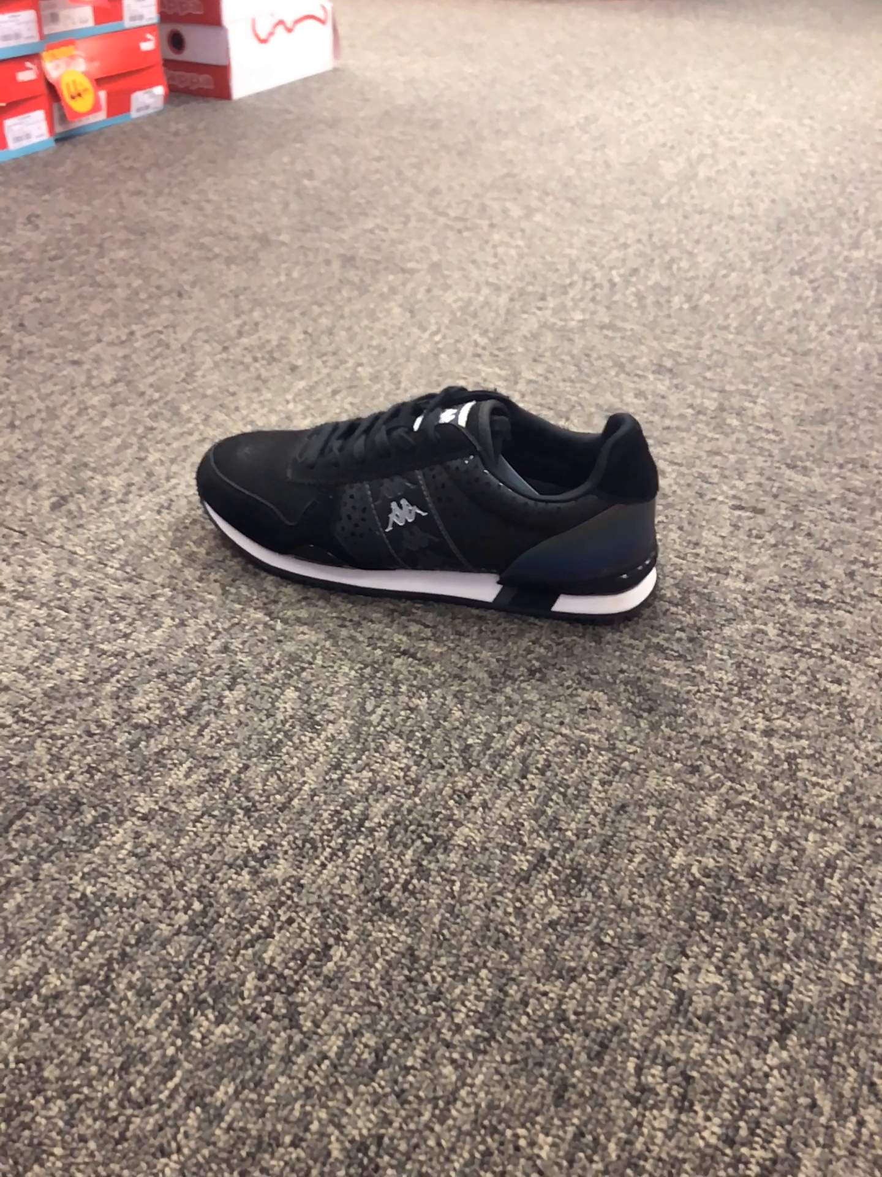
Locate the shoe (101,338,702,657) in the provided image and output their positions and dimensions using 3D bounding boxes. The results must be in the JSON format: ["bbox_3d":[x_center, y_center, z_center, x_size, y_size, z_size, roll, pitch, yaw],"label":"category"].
[{"bbox_3d":[-0.018,-0.055,0.496,0.274,0.089,0.101,9,38,17],"label":"shoe"}]
